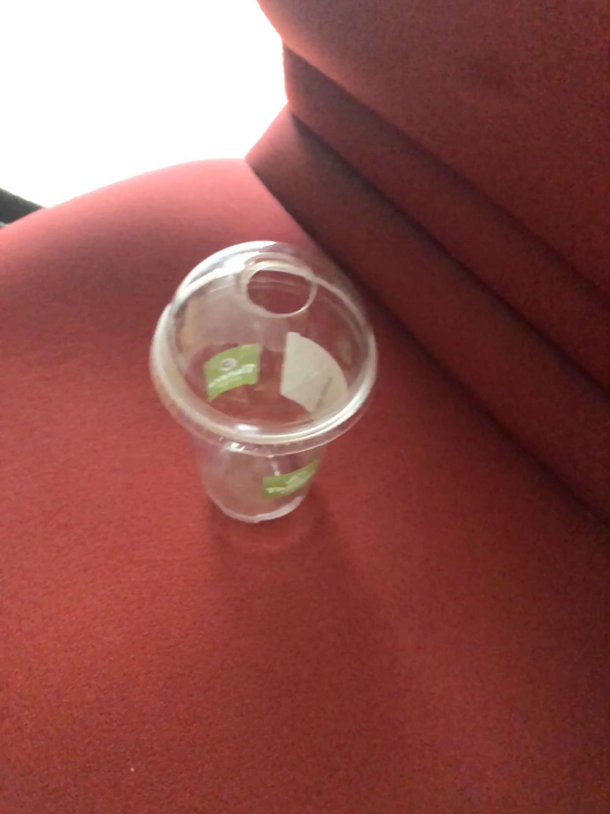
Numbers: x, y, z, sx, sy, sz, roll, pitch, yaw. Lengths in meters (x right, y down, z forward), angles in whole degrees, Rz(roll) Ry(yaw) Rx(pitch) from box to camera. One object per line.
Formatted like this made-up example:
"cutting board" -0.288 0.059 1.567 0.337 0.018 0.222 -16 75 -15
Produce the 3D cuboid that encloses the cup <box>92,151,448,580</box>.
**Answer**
"cup" -0.021 -0.011 0.312 0.090 0.150 0.100 -29 64 -23
